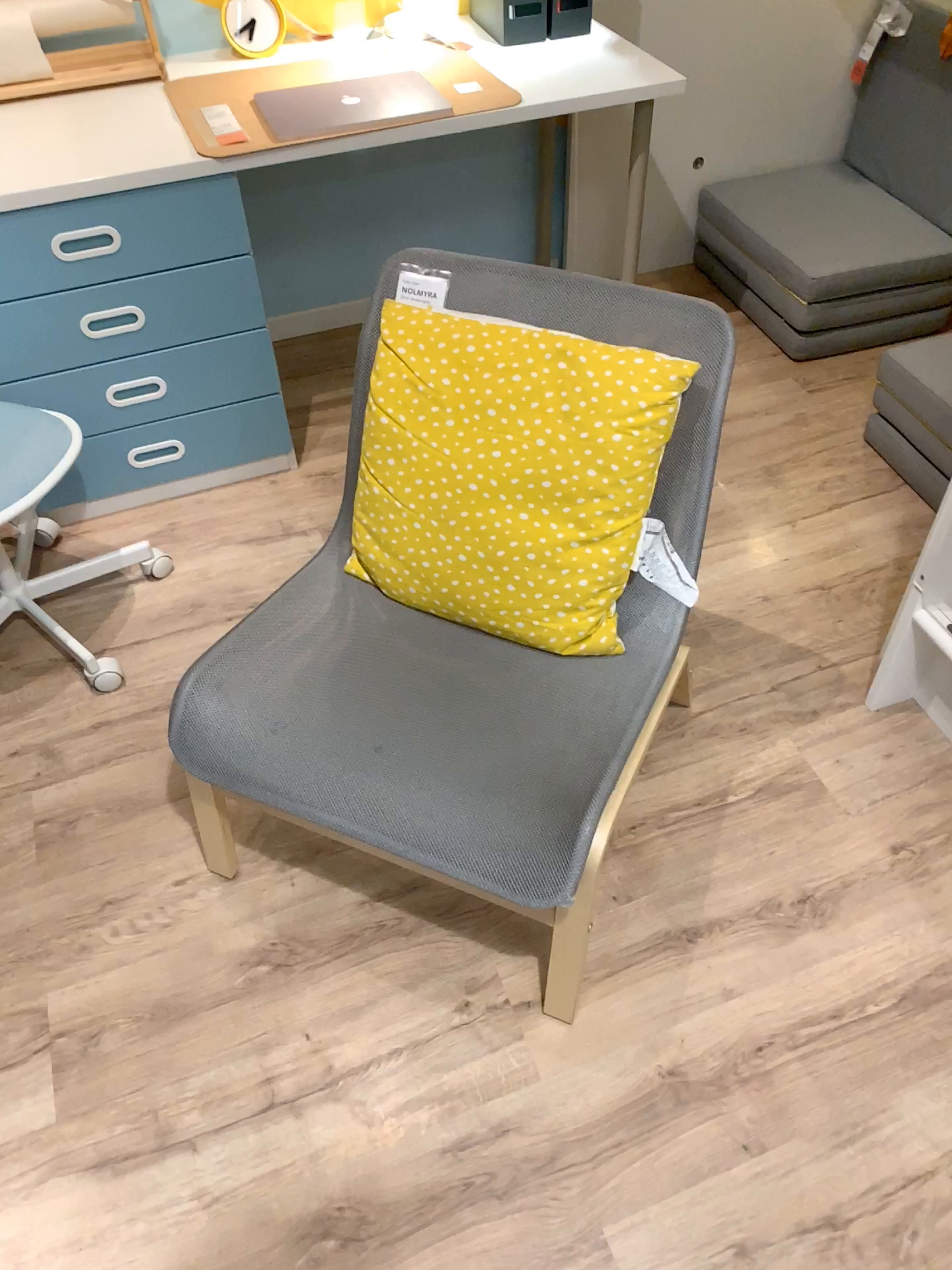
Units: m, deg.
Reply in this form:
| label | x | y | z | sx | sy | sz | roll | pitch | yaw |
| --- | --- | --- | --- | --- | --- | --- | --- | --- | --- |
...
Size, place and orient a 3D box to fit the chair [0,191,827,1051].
| label | x | y | z | sx | sy | sz | roll | pitch | yaw |
| --- | --- | --- | --- | --- | --- | --- | --- | --- | --- |
| chair | -0.010 | -0.045 | 1.250 | 0.631 | 0.707 | 0.672 | 17 | 48 | 18 |
